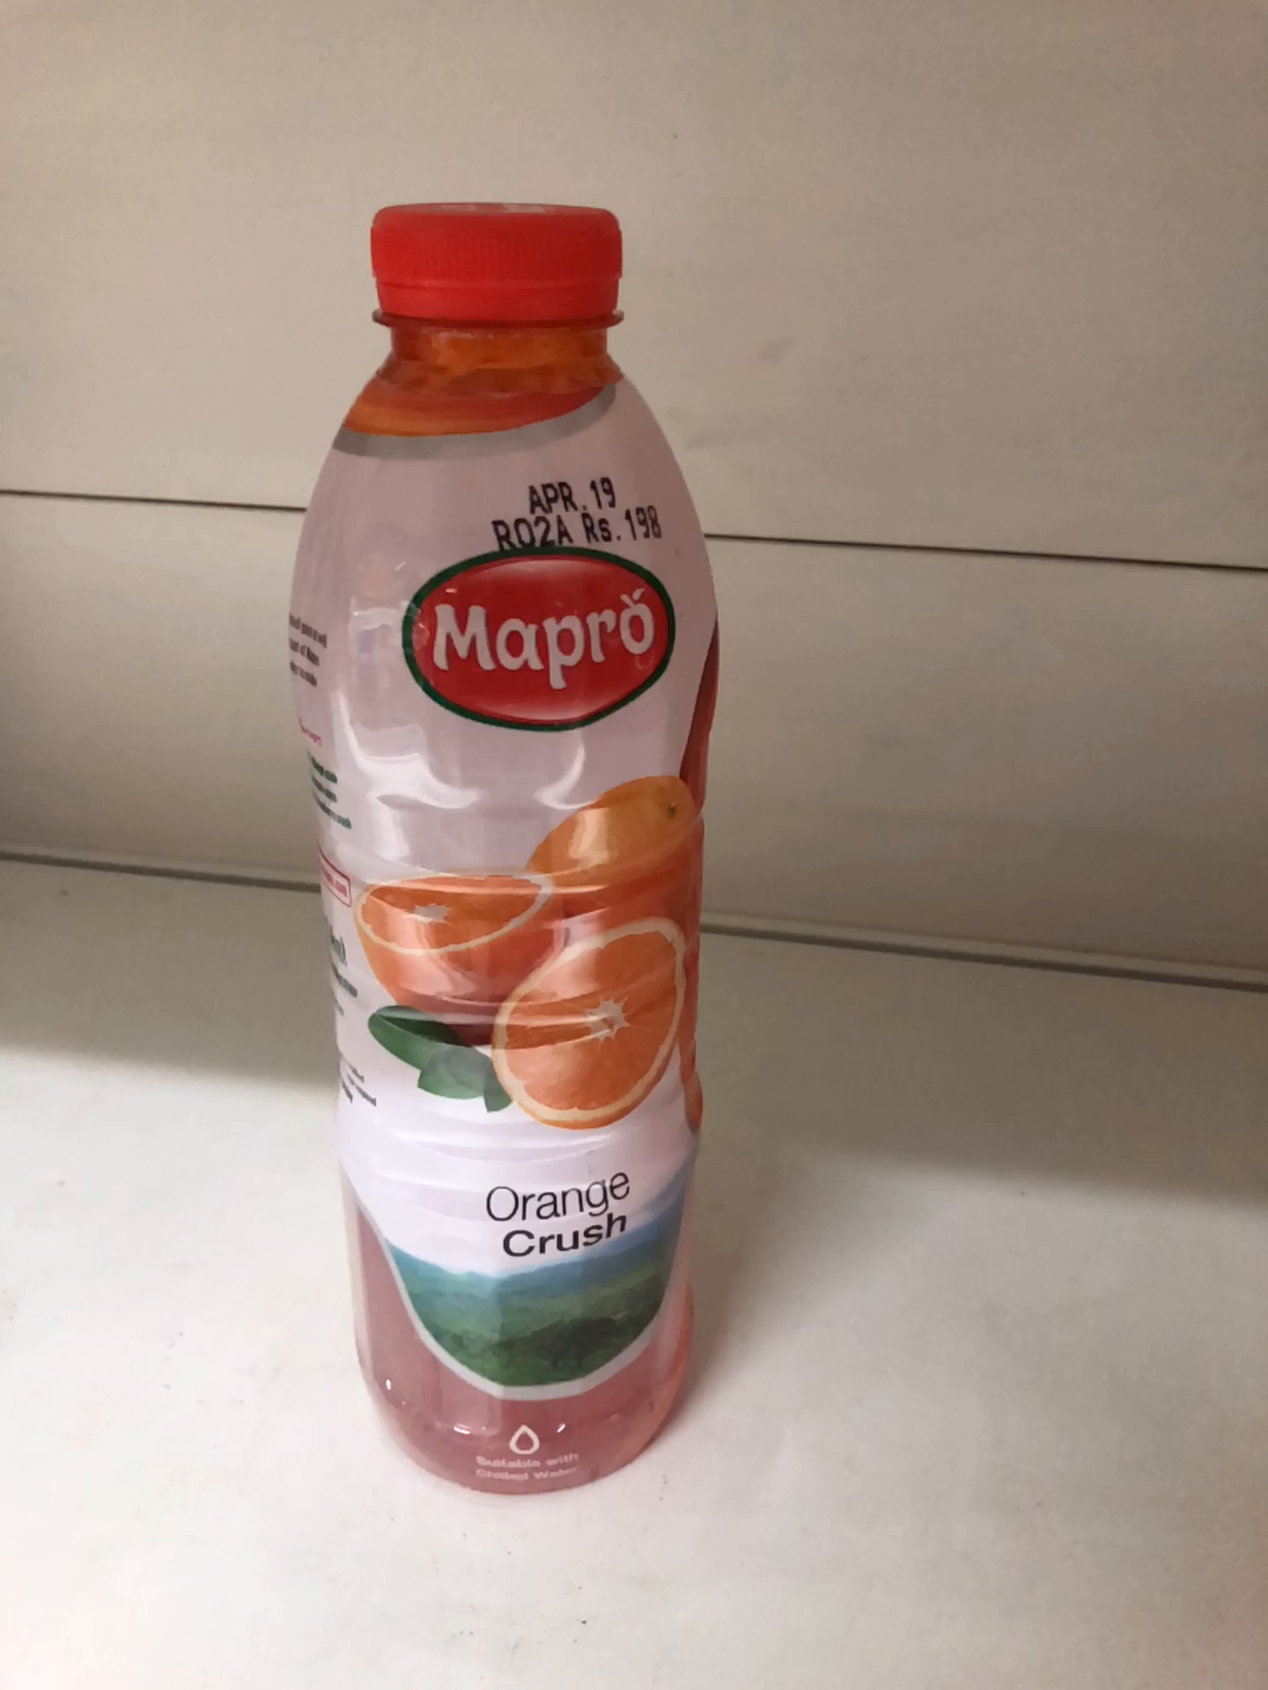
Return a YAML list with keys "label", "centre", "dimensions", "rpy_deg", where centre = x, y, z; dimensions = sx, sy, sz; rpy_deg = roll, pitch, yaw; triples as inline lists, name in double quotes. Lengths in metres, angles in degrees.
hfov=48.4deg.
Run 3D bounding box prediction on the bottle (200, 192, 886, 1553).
- label: "bottle"
  centre: [-0.021, 0.009, 0.269]
  dimensions: [0.090, 0.239, 0.080]
  rpy_deg: [-5, 26, -13]
